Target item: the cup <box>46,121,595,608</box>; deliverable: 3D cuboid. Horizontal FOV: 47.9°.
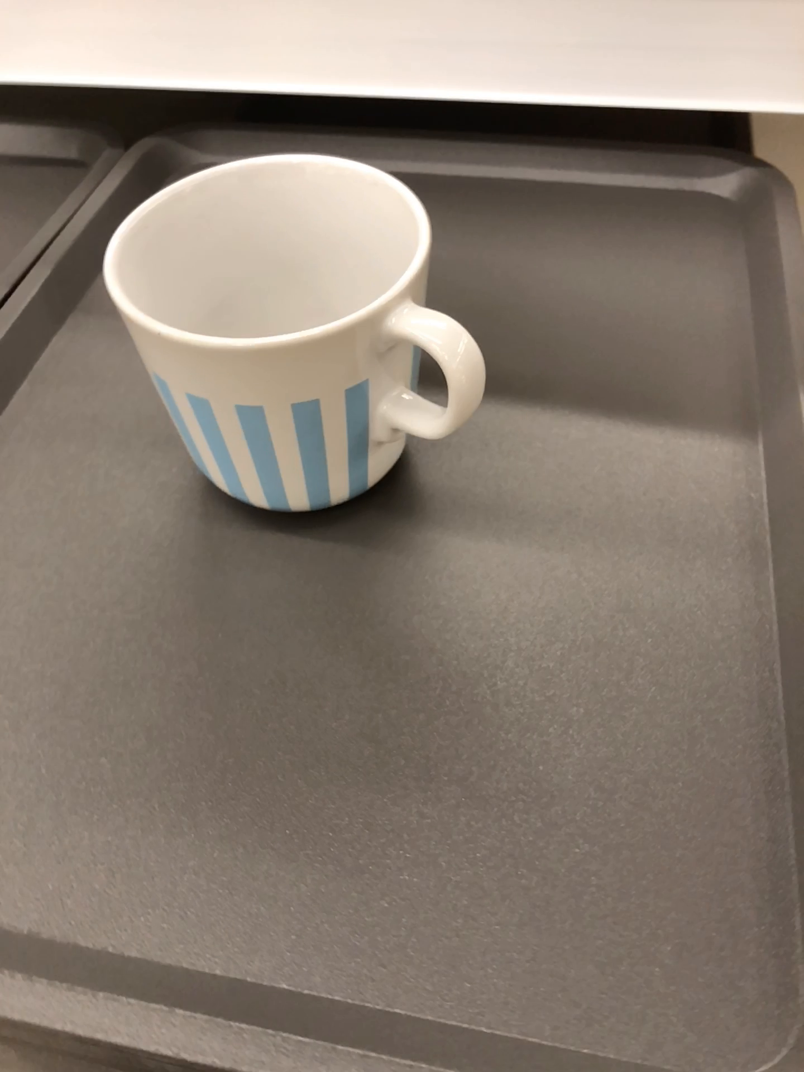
[{"bbox_3d":[-0.019,-0.054,0.260,0.110,0.070,0.090,25,54,22],"label":"cup"}]
